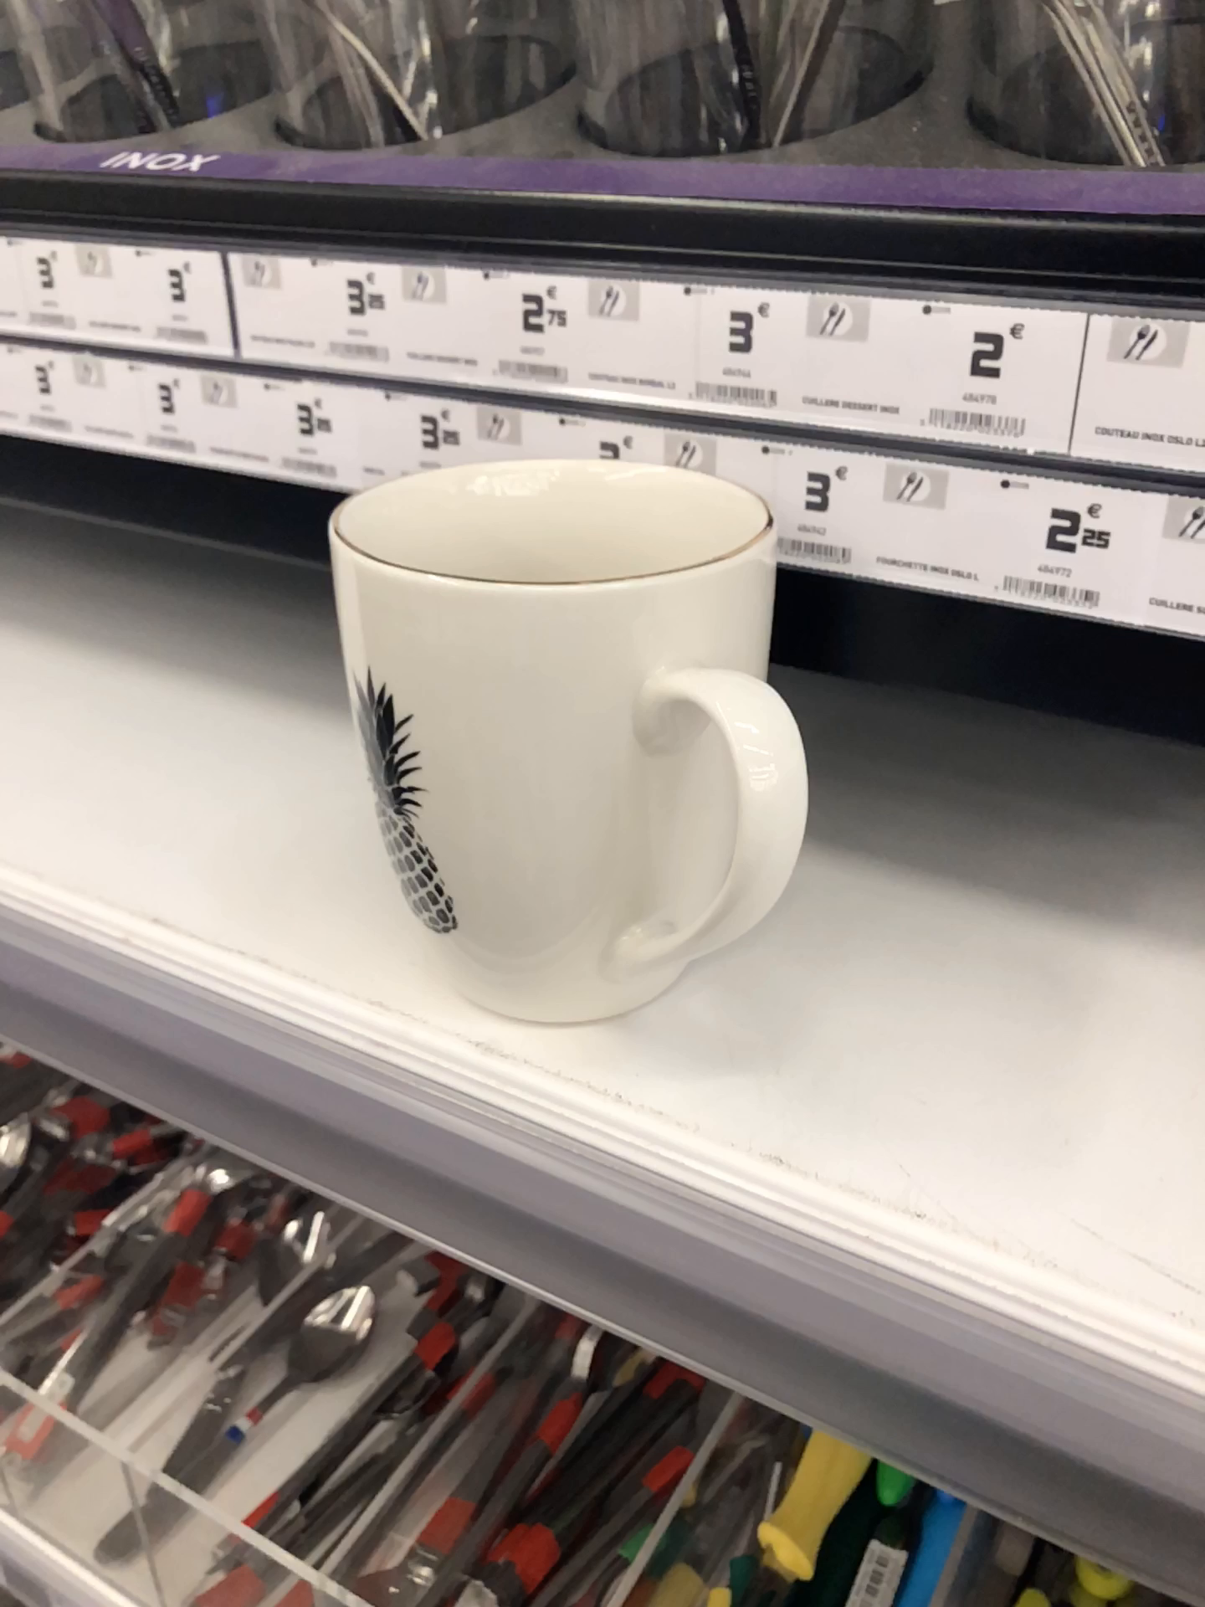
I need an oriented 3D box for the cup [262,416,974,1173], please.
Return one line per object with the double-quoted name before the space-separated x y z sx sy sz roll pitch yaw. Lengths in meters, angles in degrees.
"cup" -0.003 -0.013 0.265 0.083 0.093 0.115 -17 32 -25
